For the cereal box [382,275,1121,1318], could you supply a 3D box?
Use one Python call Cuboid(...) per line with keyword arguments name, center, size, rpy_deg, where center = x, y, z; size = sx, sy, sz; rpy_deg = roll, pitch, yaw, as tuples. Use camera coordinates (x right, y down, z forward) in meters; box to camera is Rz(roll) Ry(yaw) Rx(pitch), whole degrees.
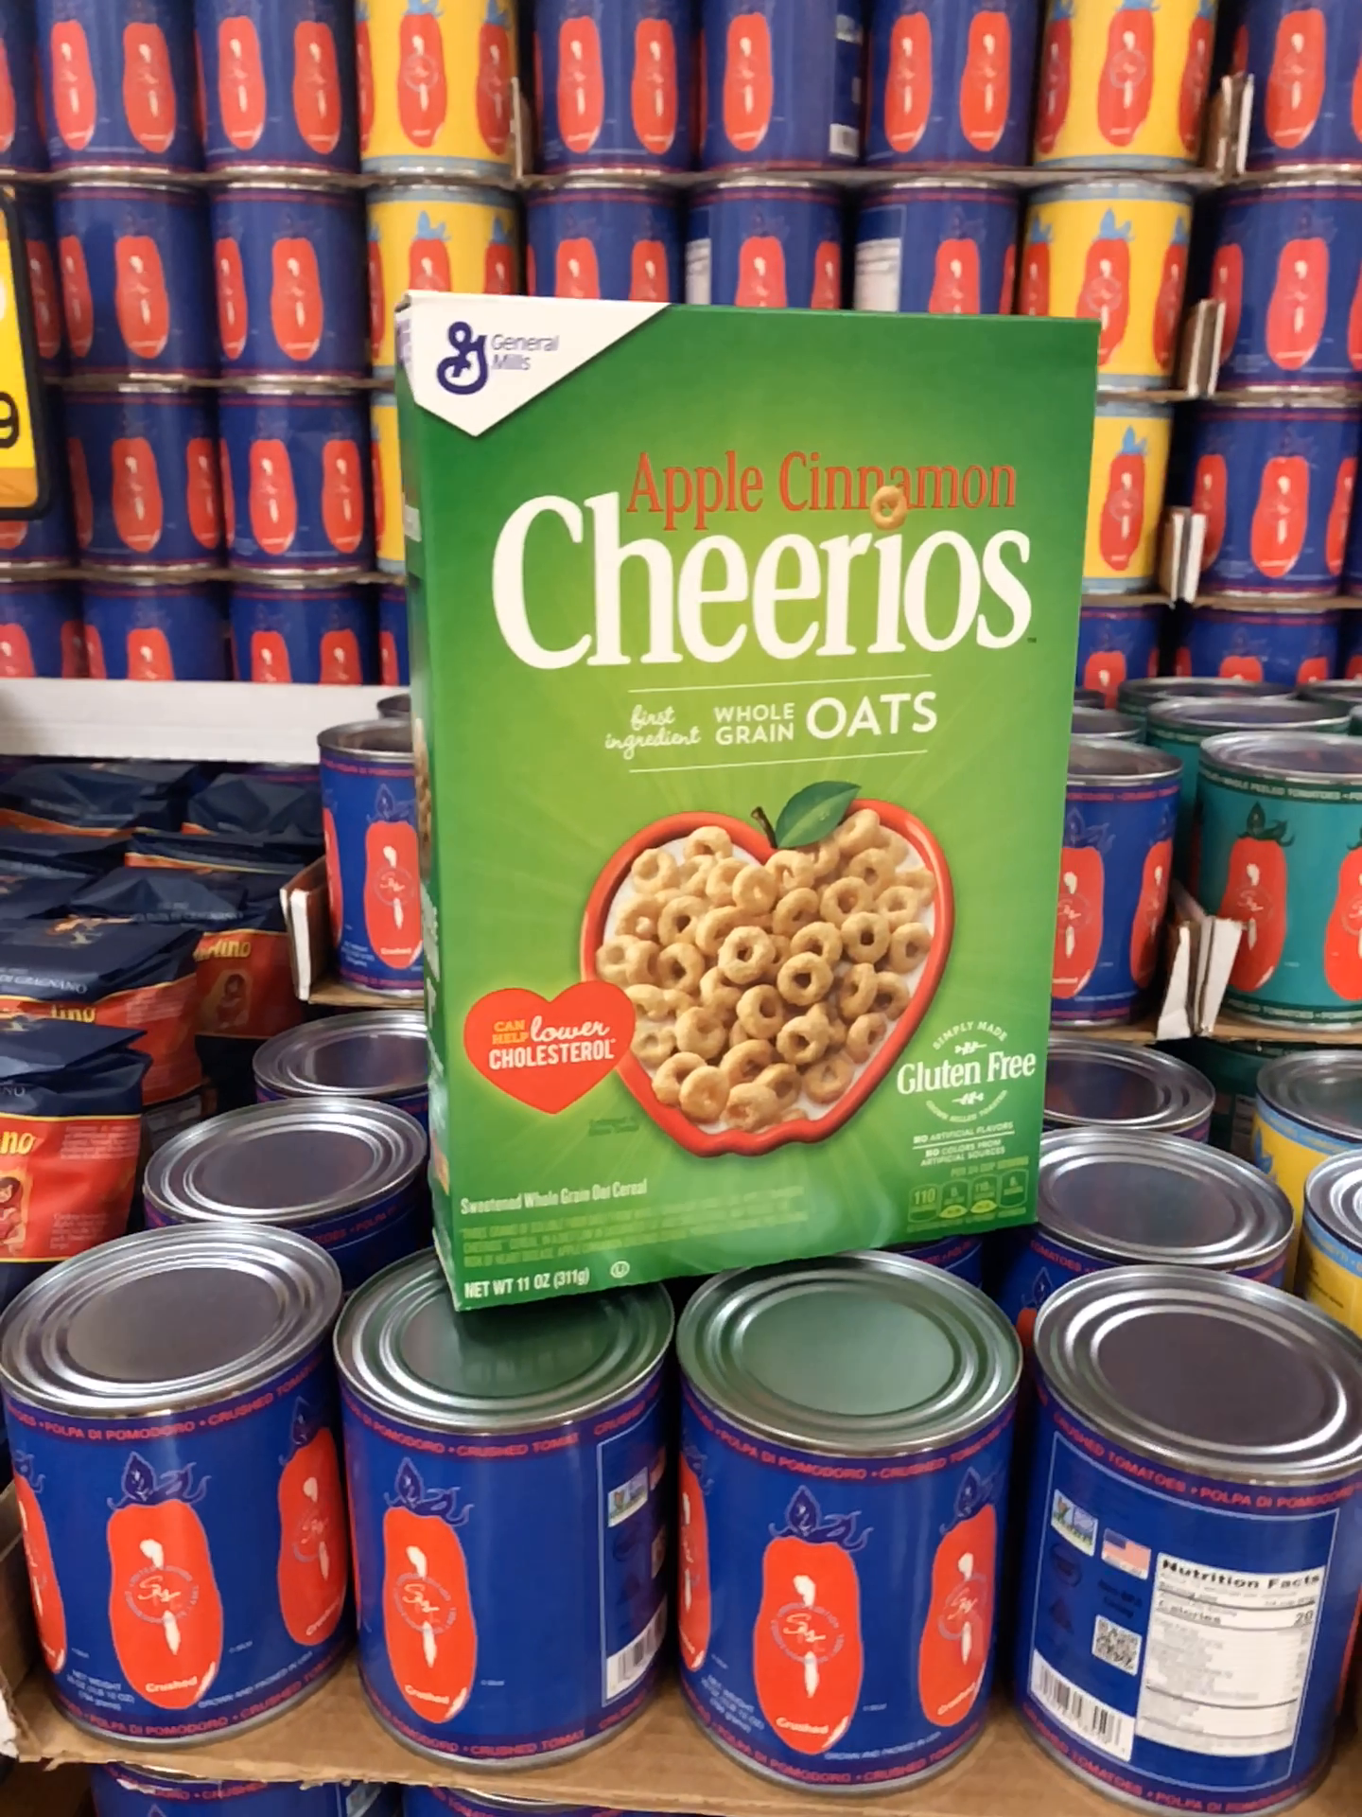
Cuboid(name="cereal box", center=(0.019, -0.031, 0.458), size=(0.200, 0.288, 0.050), rpy_deg=(-4, 17, -16))
